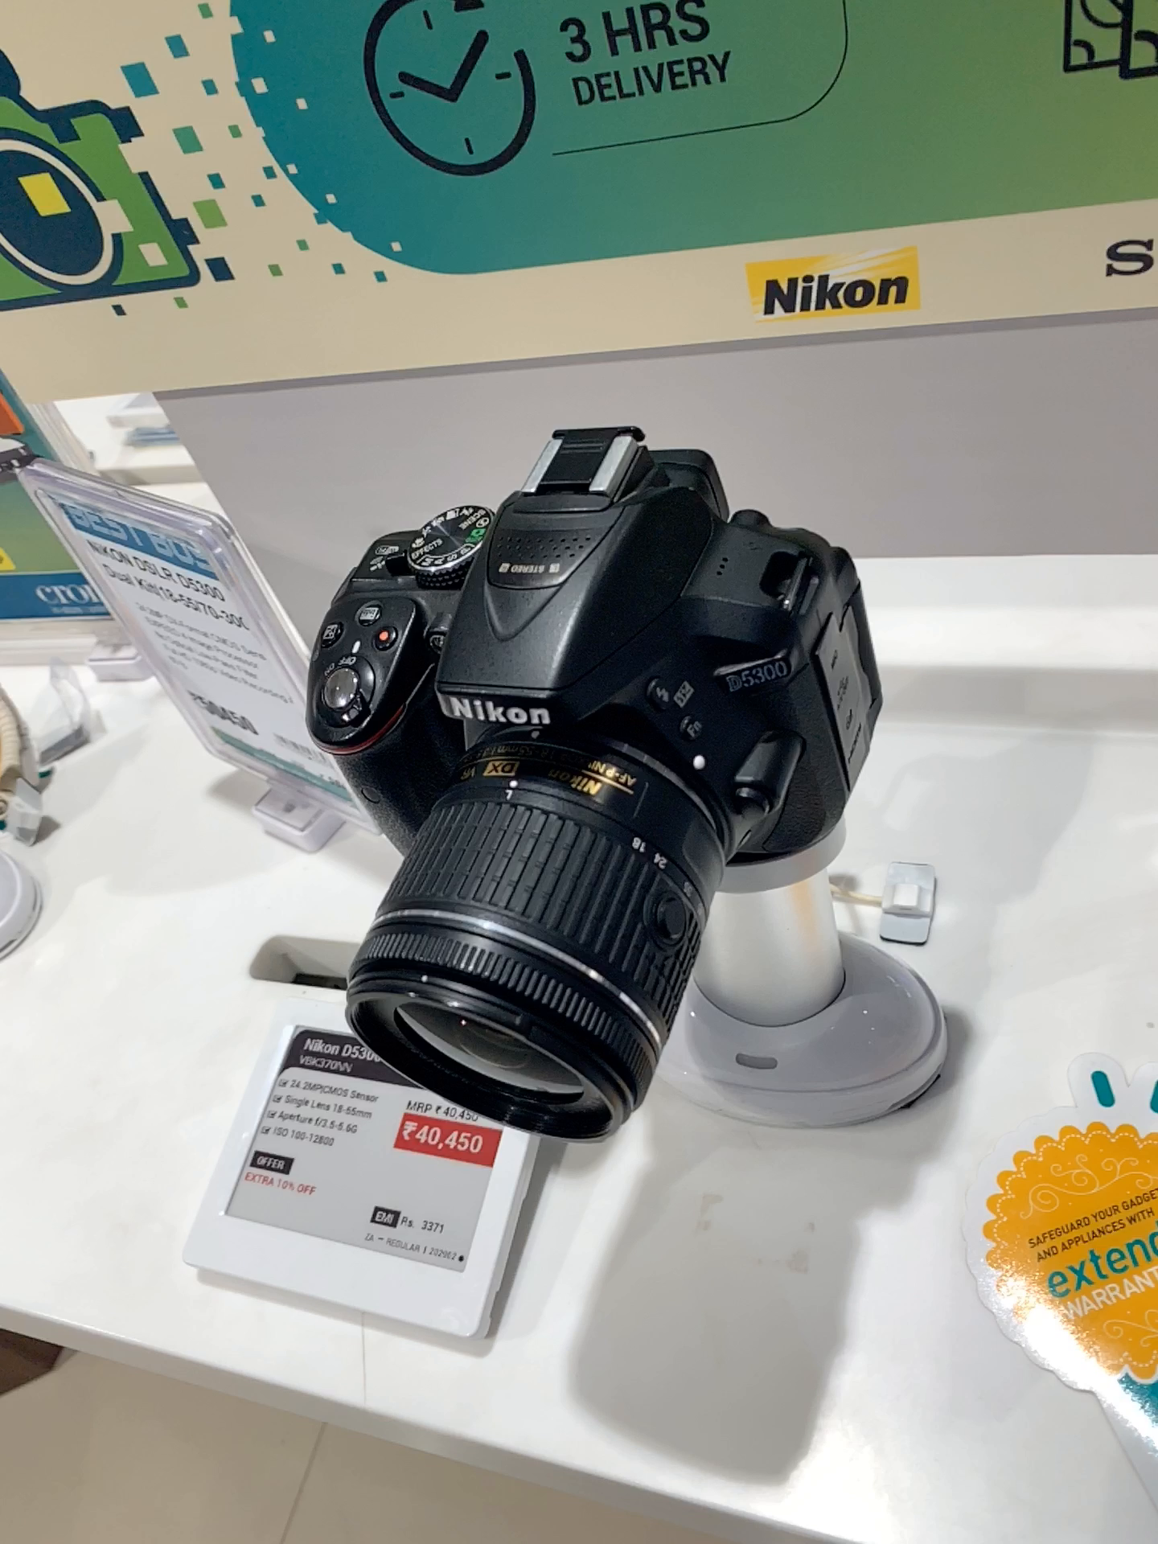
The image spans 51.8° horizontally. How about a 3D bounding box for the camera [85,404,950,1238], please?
[{"bbox_3d":[0.004,0.003,0.232,0.118,0.082,0.123,3,50,22],"label":"camera"}]
